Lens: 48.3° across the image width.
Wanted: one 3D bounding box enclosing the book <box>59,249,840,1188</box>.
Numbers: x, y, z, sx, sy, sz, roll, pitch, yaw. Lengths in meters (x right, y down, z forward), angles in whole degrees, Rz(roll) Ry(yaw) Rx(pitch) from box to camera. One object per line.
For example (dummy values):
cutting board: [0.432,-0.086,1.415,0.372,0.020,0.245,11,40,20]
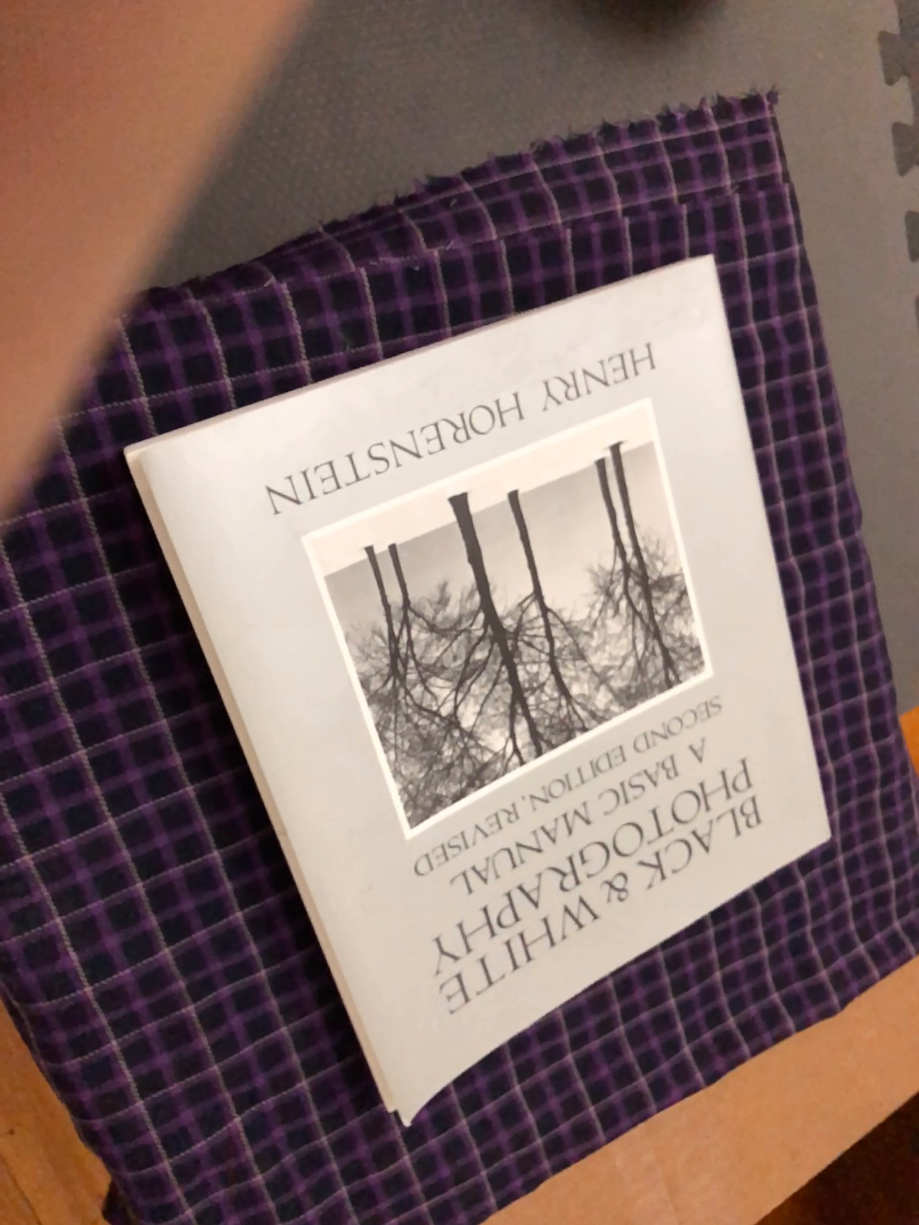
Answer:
book: [0.020,0.033,0.349,0.211,0.030,0.250,-24,109,-20]
